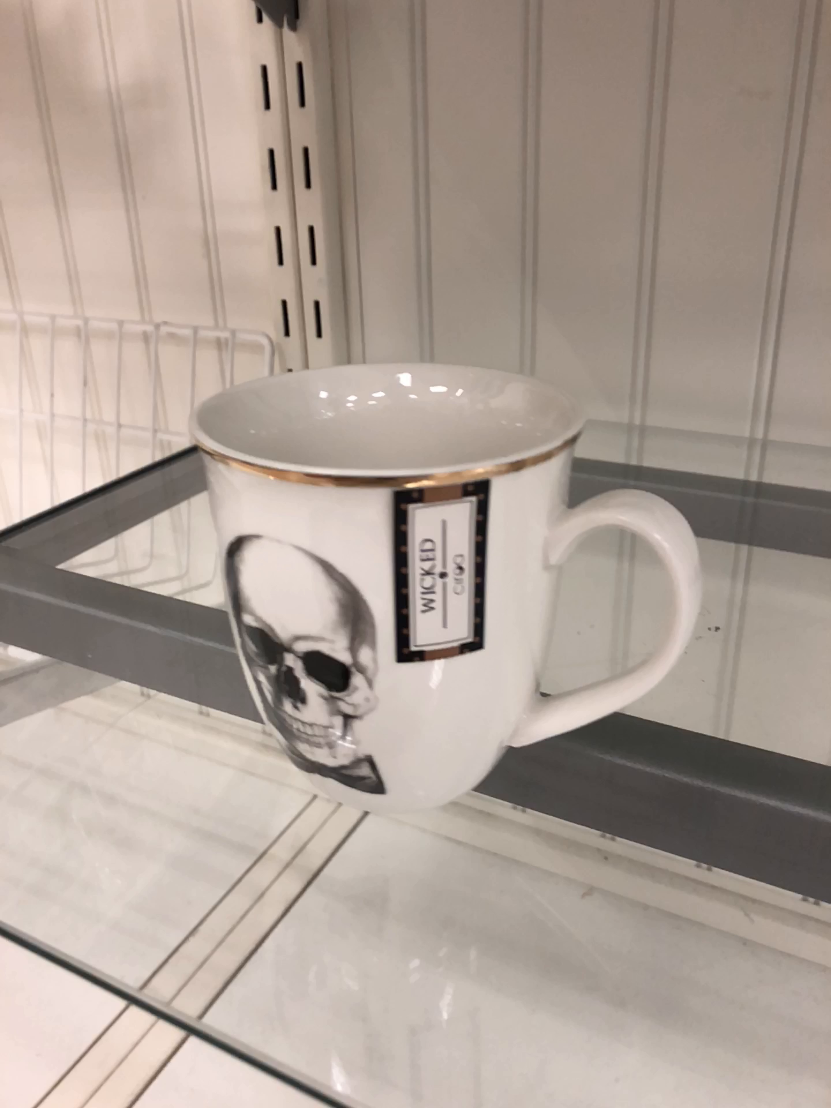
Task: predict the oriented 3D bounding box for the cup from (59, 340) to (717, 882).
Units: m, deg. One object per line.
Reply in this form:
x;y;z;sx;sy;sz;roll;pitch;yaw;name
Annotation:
0.003;0.002;0.233;0.131;0.088;0.095;6;25;16;cup
